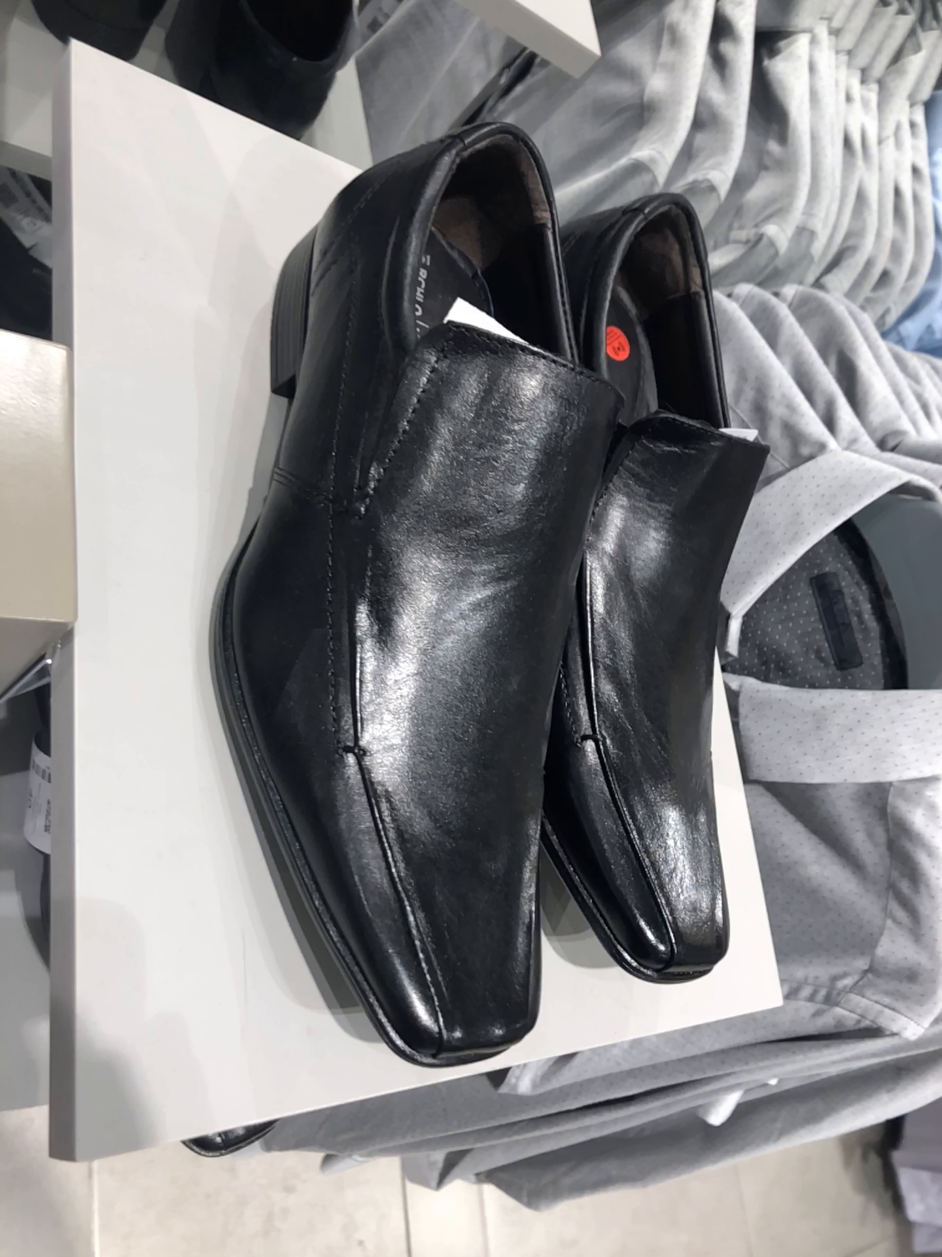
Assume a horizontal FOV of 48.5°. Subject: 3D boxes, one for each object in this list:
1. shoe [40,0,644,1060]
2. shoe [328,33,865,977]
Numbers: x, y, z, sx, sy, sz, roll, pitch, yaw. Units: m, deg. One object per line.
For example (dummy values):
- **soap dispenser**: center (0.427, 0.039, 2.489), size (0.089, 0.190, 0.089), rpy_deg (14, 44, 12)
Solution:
- **shoe**: center (-0.045, -0.043, 0.303), size (0.111, 0.099, 0.300), rpy_deg (10, 66, -36)
- **shoe**: center (0.030, -0.036, 0.357), size (0.111, 0.099, 0.280), rpy_deg (10, 66, -36)
